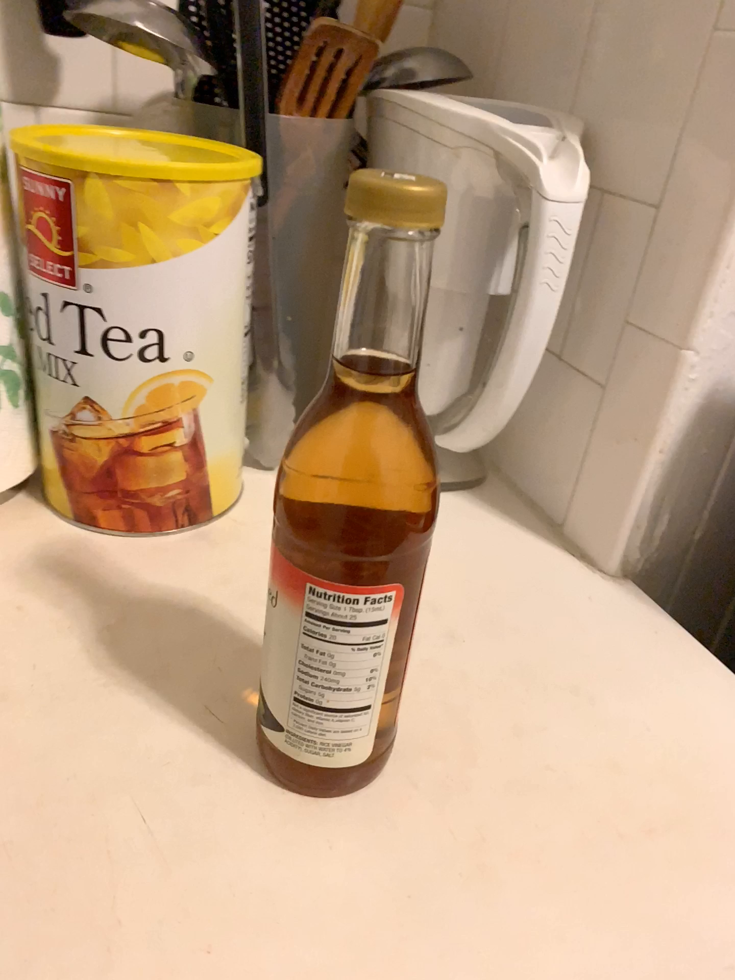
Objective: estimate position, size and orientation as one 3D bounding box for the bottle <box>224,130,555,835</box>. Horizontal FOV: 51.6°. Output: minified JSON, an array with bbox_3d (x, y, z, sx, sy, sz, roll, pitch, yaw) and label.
[{"bbox_3d":[-0.002,0.009,0.273,0.070,0.239,0.070,7,28,-4],"label":"bottle"}]
